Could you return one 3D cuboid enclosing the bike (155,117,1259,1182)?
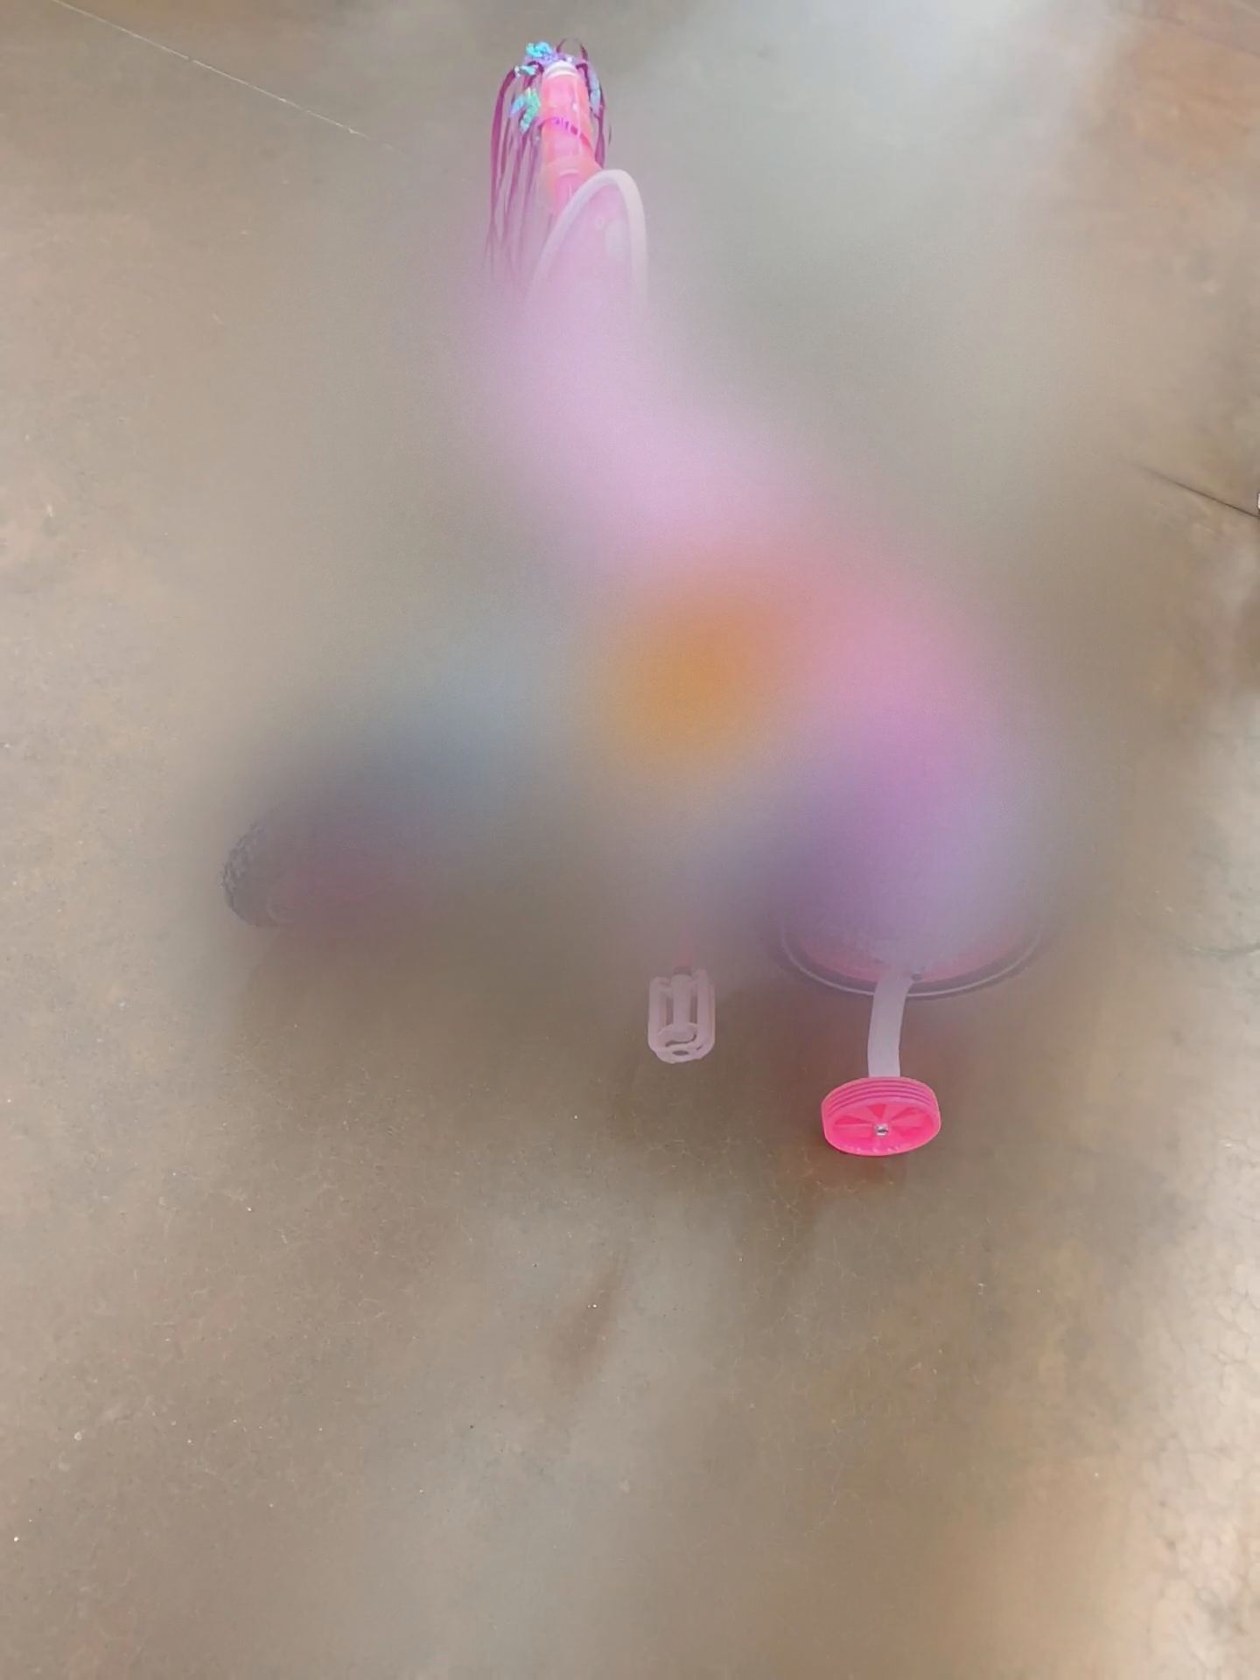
[{"bbox_3d":[0.067,-0.077,1.033,0.776,0.707,0.429,3,51,-9],"label":"bike"}]
